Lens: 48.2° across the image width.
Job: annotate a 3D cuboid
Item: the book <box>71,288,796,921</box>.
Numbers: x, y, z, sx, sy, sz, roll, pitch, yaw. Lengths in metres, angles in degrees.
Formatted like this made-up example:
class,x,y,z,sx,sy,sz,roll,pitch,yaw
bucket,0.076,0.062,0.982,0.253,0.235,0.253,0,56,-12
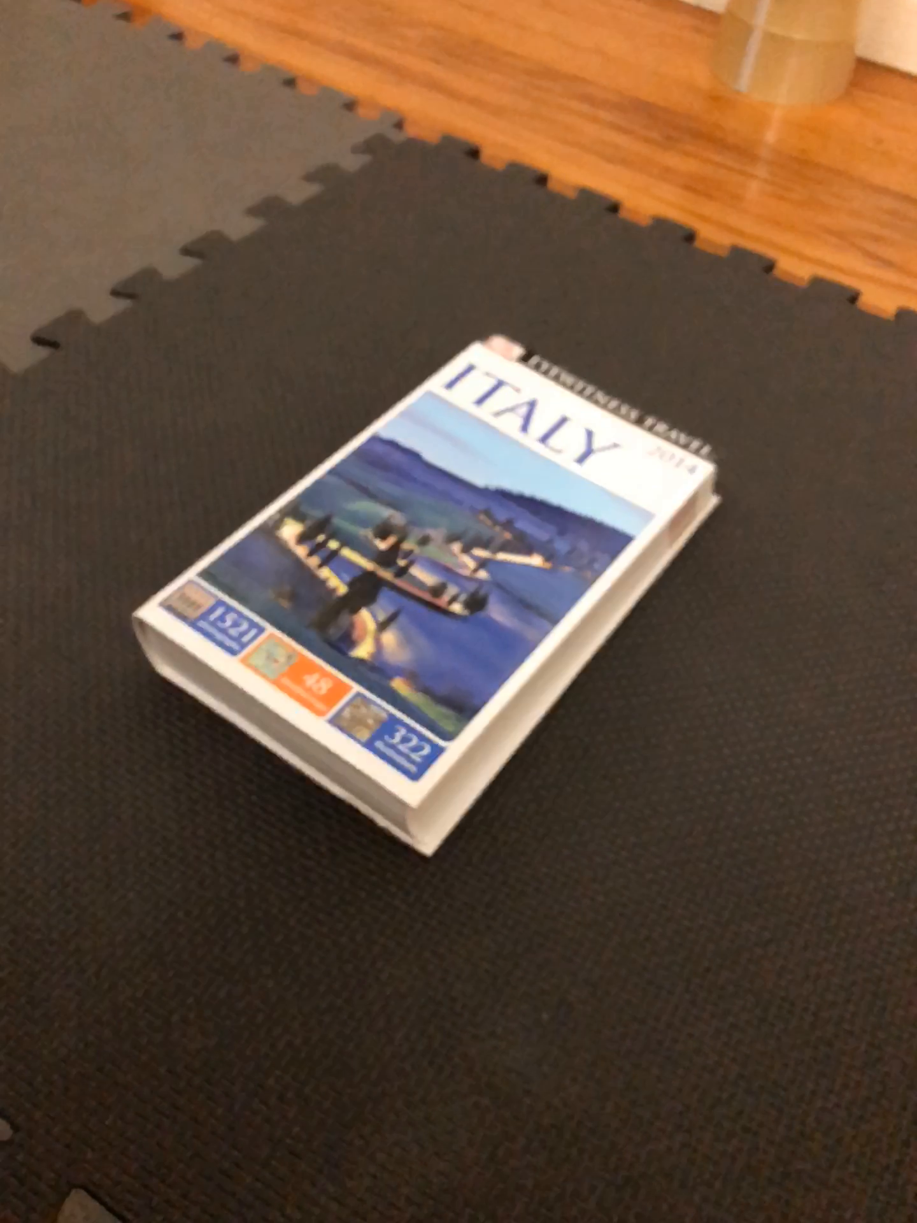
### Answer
class,x,y,z,sx,sy,sz,roll,pitch,yaw
book,0.005,-0.028,0.406,0.160,0.040,0.251,30,54,19
